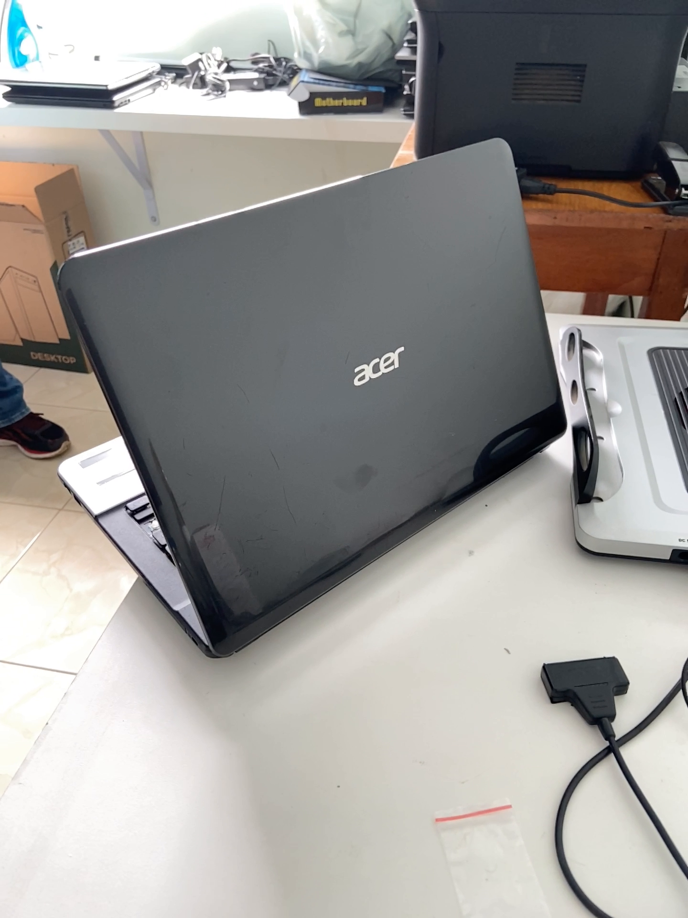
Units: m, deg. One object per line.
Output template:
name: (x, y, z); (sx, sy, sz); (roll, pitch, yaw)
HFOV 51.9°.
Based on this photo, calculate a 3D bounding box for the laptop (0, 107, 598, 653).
laptop: (-0.036, -0.092, 0.510); (0.328, 0.211, 0.239); (-28, 44, -30)
